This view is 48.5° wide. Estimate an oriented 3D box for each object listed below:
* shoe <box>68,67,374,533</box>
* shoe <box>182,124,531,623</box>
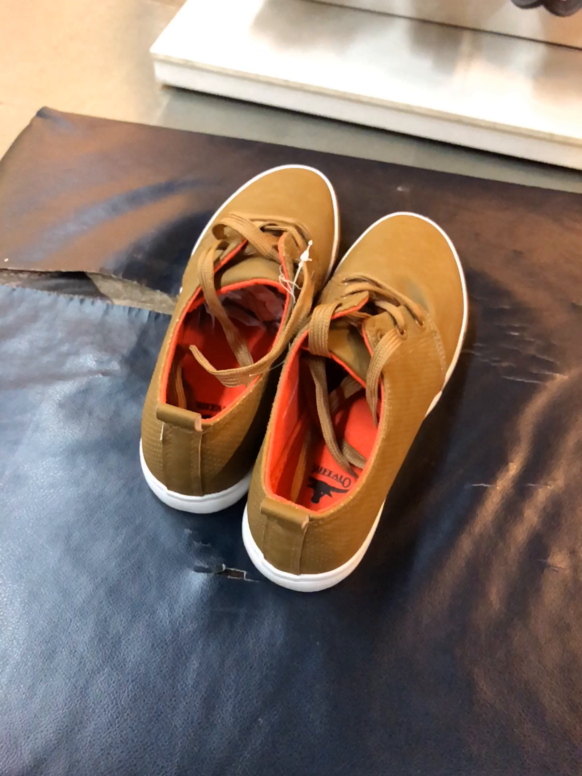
[{"bbox_3d":[-0.022,-0.067,0.380,0.100,0.097,0.267,11,54,2],"label":"shoe"},{"bbox_3d":[0.047,-0.026,0.356,0.095,0.090,0.262,21,55,9],"label":"shoe"}]
